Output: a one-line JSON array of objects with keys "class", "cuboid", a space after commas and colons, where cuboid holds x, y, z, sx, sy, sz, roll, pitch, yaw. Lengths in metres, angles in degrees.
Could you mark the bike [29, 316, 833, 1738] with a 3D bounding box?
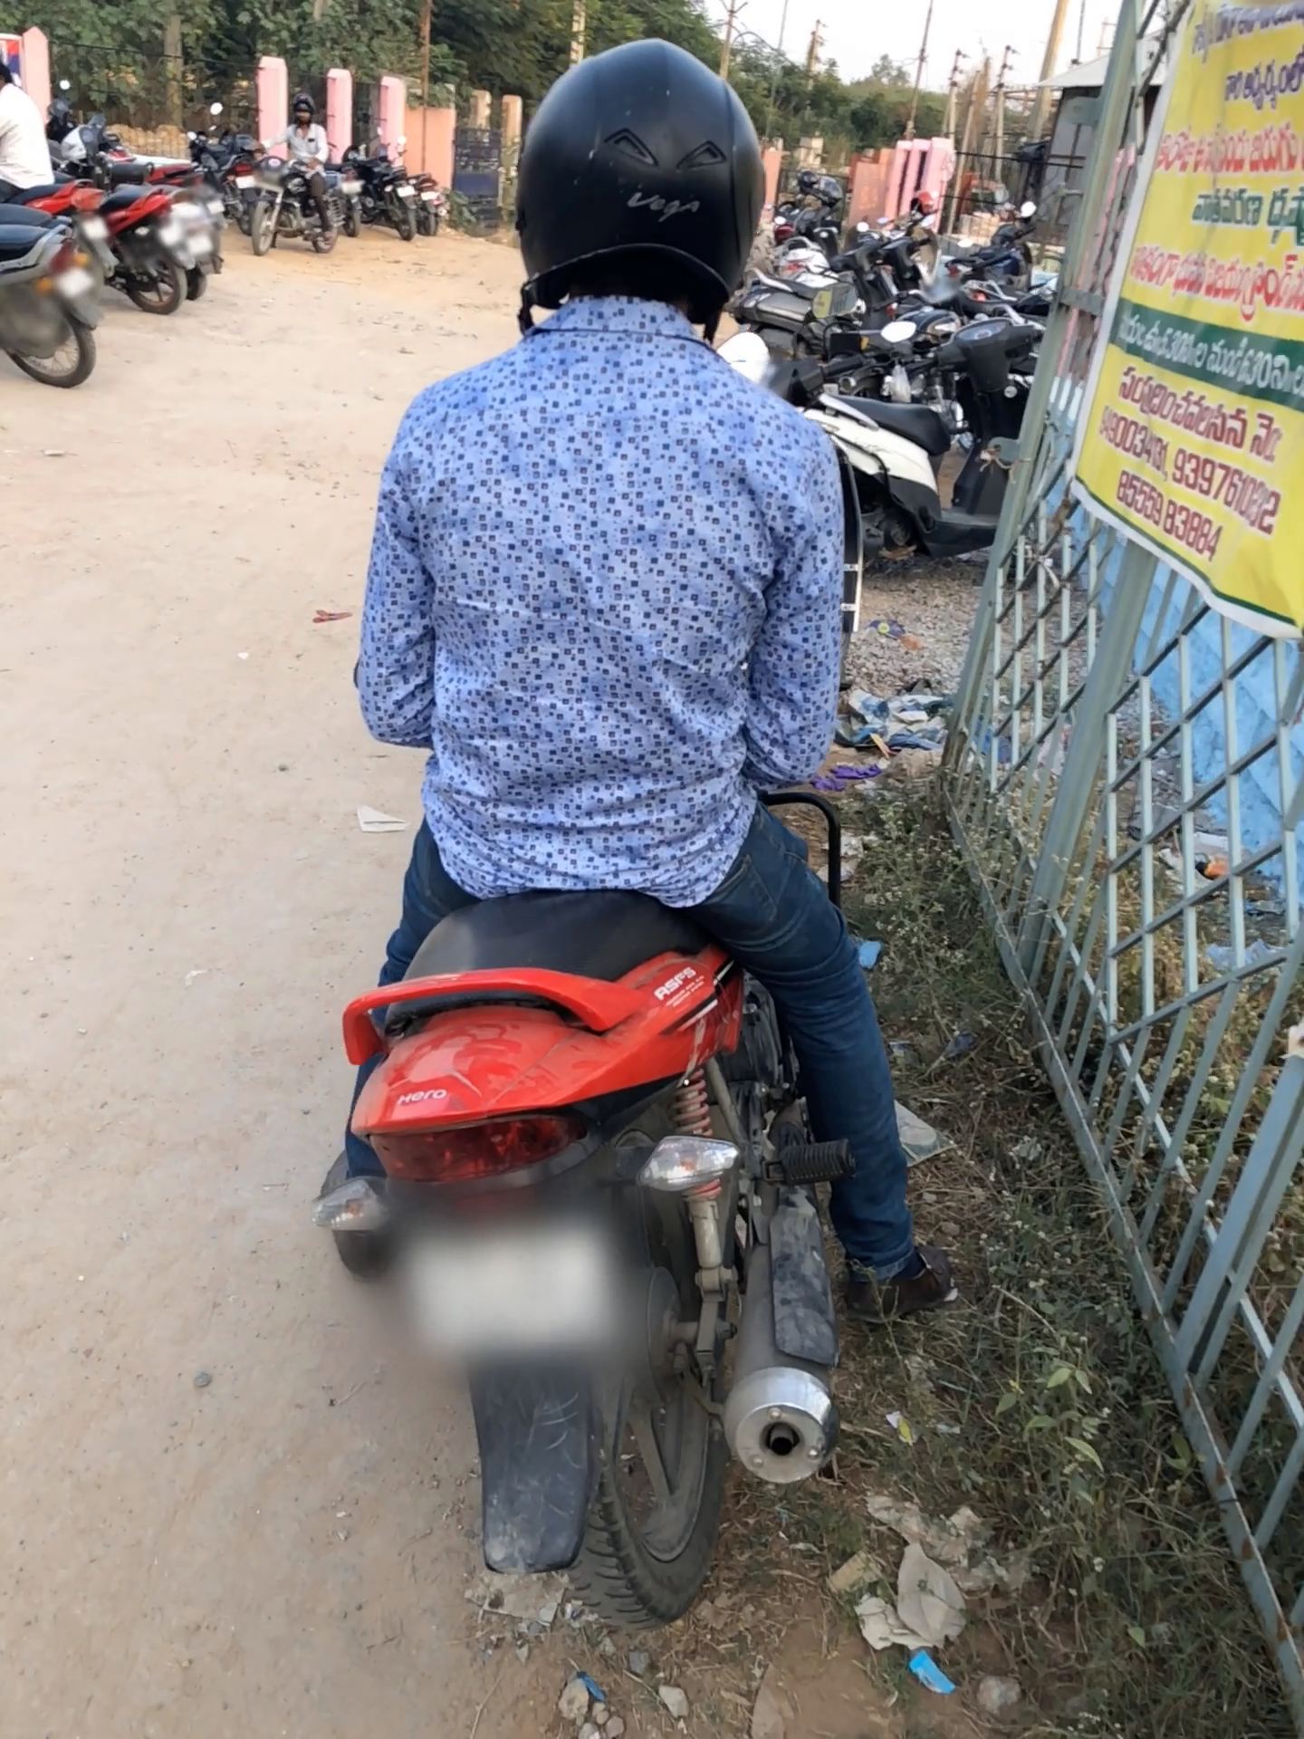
[{"class": "bike", "cuboid": [-0.251, 0.003, 2.025, 0.582, 1.176, 1.698, 5, 28, -4]}]
